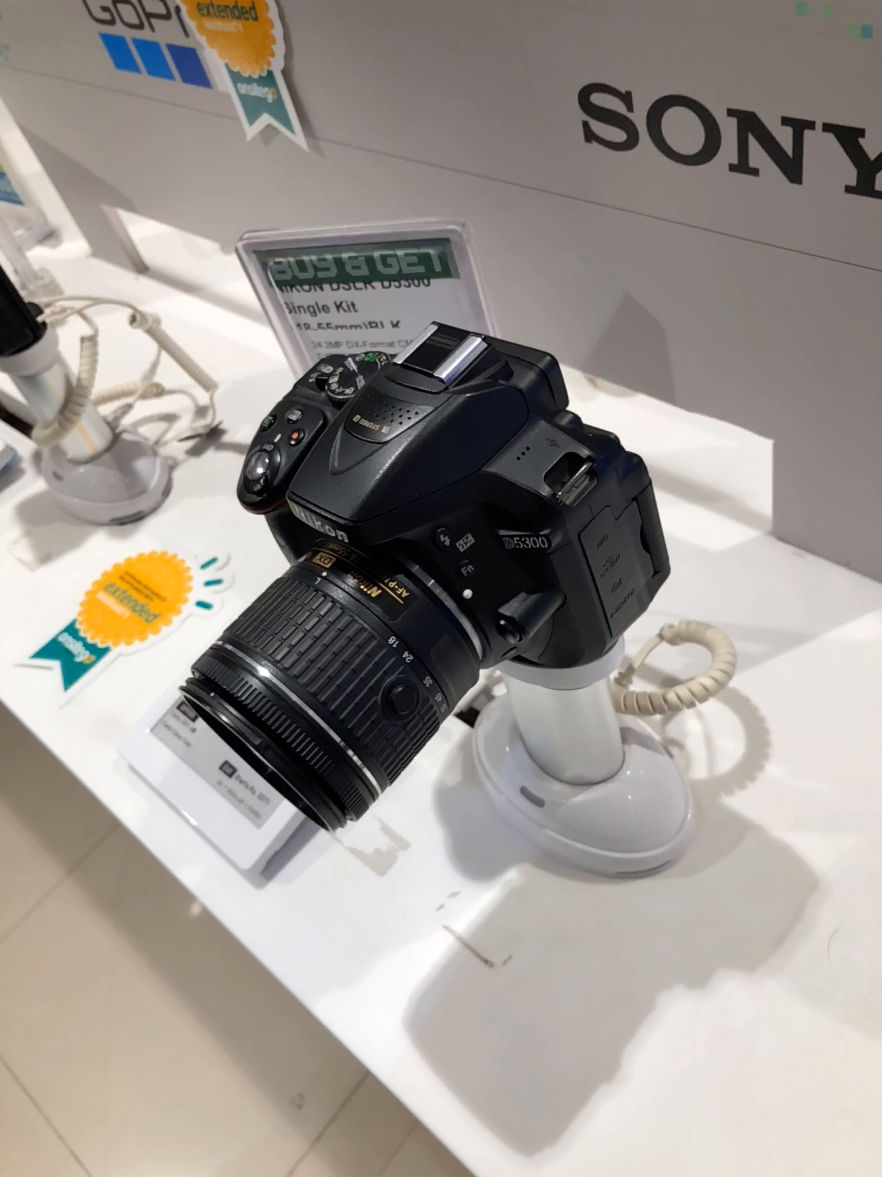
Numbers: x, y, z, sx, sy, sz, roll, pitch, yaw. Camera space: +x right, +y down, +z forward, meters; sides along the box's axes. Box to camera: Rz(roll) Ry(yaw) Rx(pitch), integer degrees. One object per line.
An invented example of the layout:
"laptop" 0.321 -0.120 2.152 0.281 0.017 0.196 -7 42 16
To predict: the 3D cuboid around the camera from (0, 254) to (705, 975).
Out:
"camera" -0.023 -0.003 0.289 0.141 0.099 0.140 27 63 33
